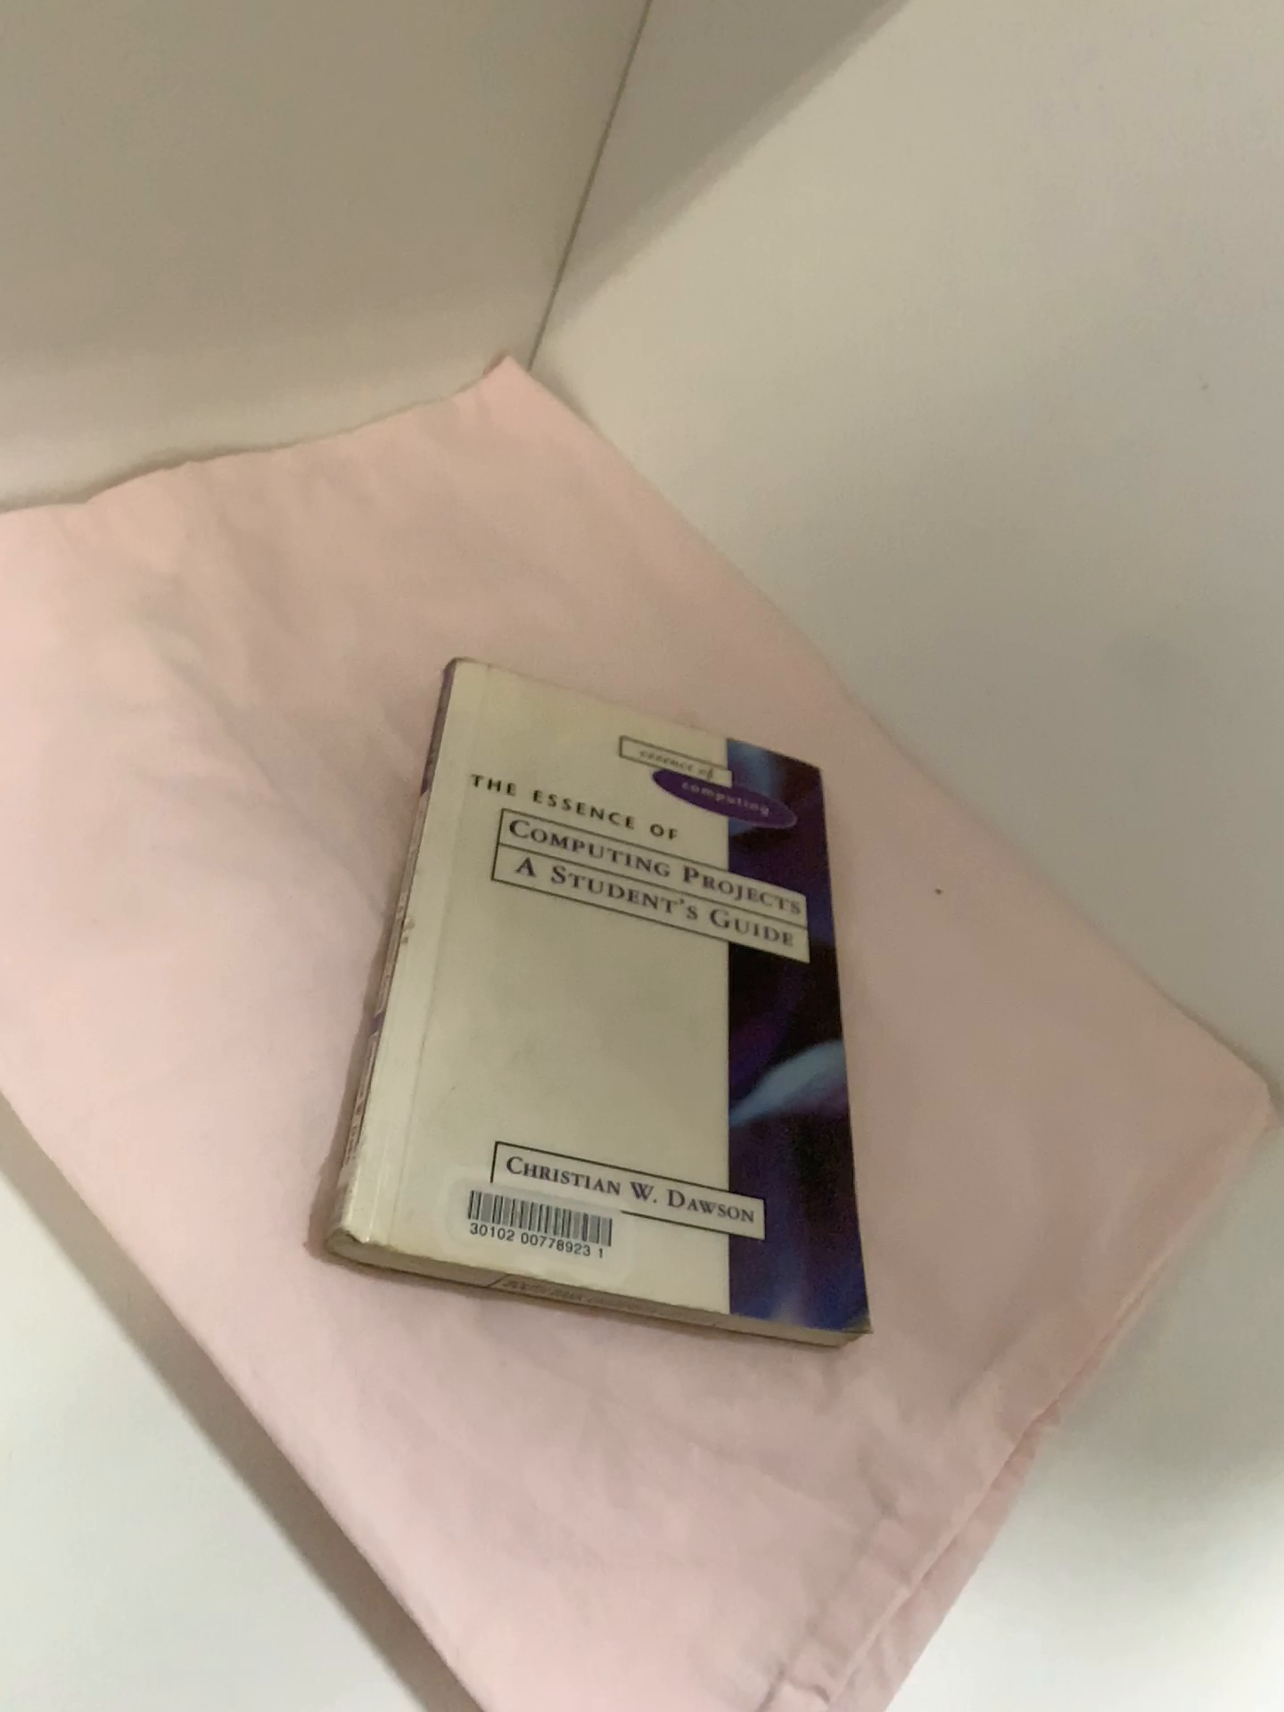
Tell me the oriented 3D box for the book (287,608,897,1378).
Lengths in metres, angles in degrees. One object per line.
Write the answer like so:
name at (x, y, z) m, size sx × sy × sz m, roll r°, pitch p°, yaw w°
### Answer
book at (-0.007, 0.029, 0.452) m, size 0.170 × 0.020 × 0.262 m, roll 15°, pitch 47°, yaw -14°
